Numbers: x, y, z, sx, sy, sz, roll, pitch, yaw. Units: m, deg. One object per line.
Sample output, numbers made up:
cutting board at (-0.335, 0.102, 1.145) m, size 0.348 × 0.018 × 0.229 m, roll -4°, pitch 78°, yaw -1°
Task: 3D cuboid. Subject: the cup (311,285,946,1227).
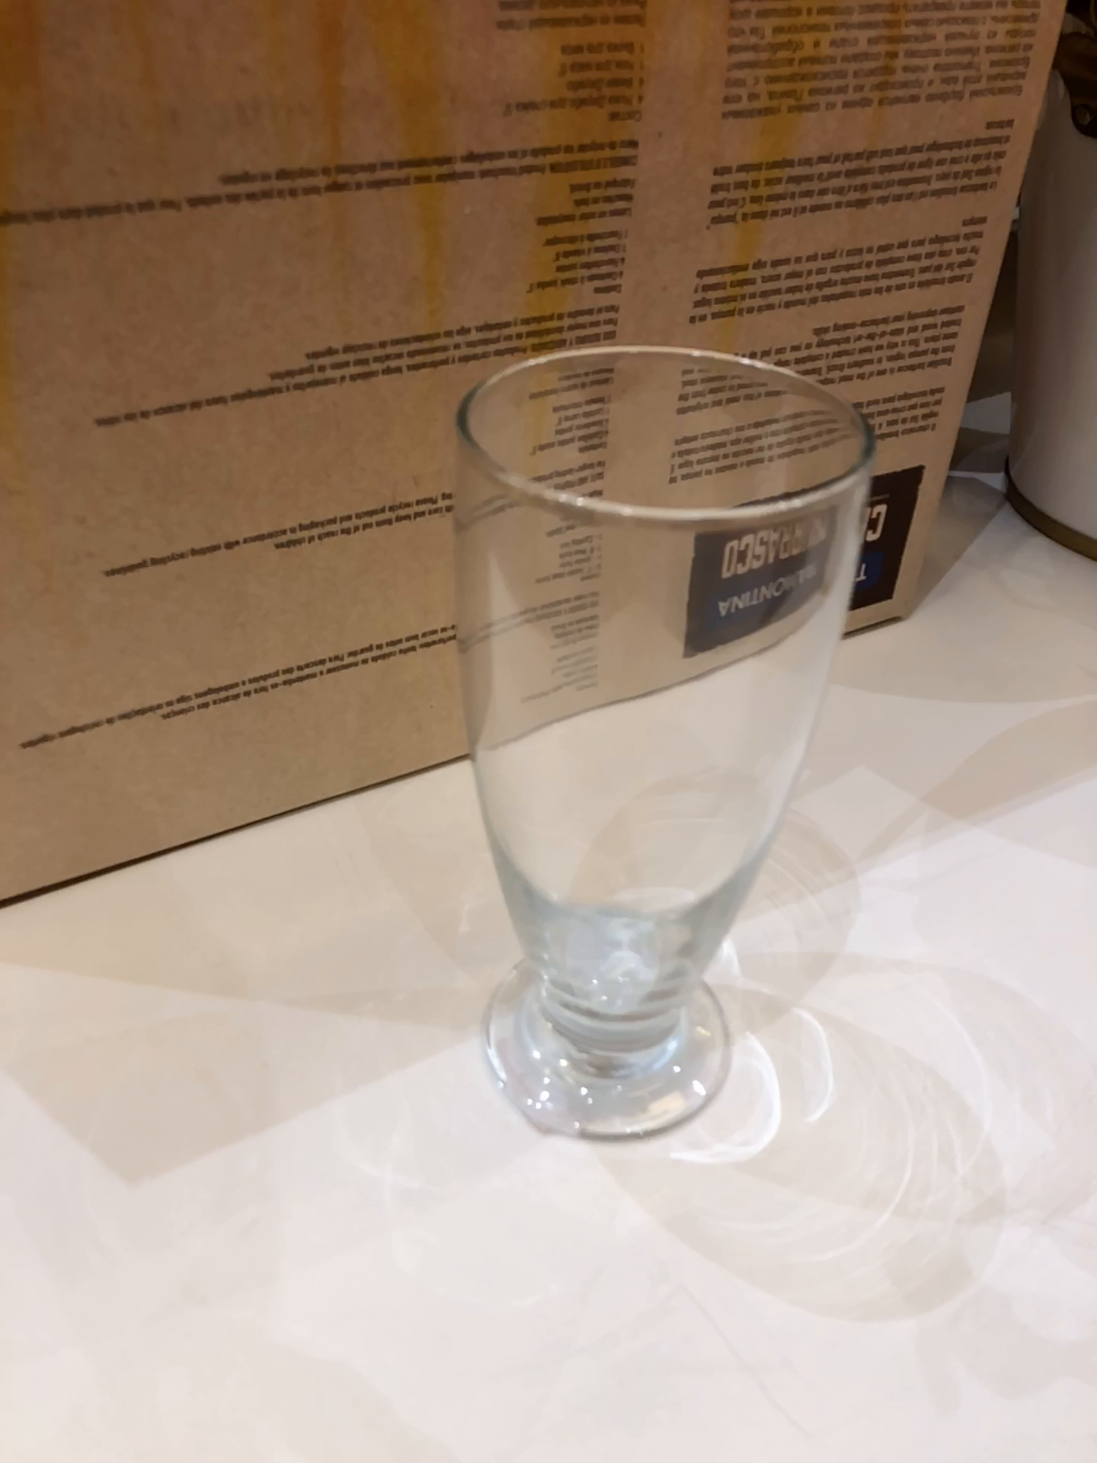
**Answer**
cup at (0.011, 0.009, 0.282) m, size 0.090 × 0.189 × 0.080 m, roll -19°, pitch 41°, yaw -26°
